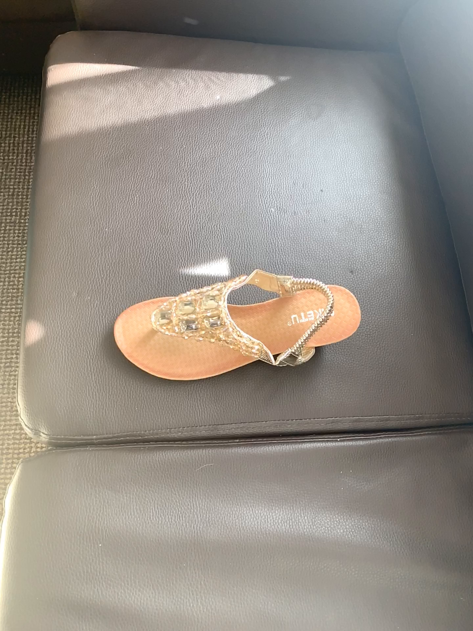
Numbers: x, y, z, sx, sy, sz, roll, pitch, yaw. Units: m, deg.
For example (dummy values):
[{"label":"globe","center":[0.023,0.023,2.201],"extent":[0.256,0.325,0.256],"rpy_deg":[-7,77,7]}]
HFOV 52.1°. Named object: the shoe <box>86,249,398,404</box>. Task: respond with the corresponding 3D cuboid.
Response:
[{"label":"shoe","center":[0.000,0.018,0.499],"extent":[0.270,0.140,0.100],"rpy_deg":[-5,72,-5]}]
